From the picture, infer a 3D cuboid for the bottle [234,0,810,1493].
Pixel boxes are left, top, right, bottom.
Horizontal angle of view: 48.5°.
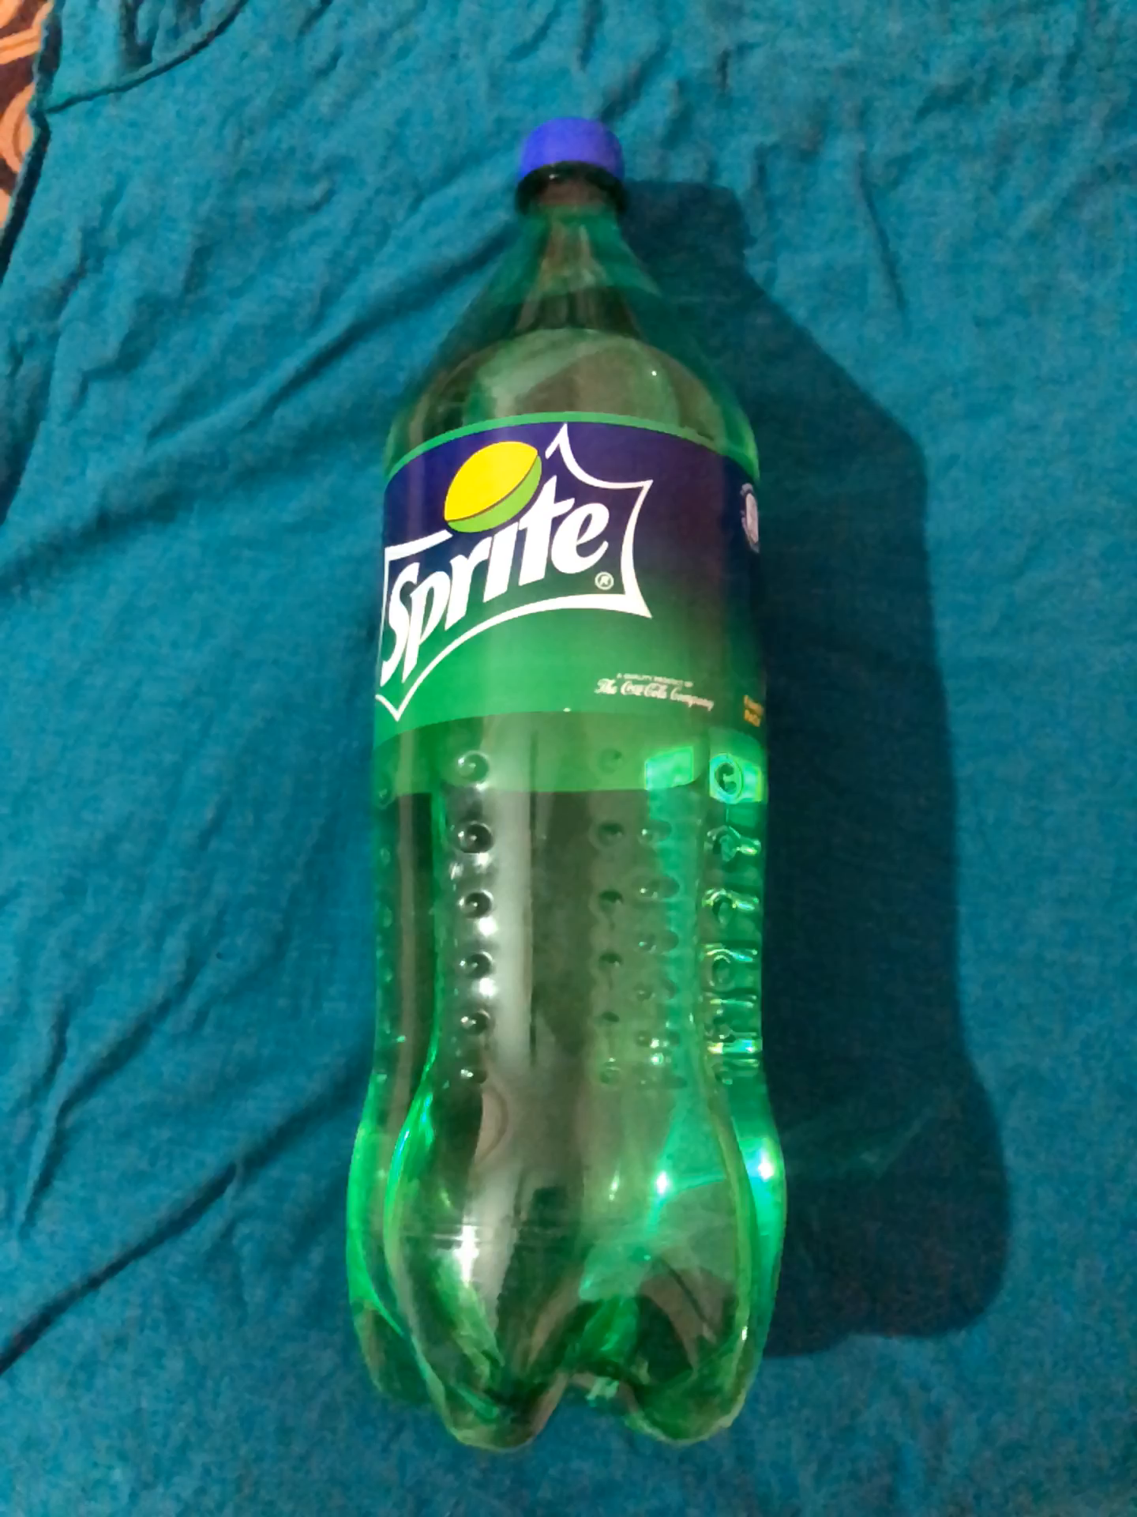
[{"bbox_3d":[-0.006,-0.020,0.308,0.110,0.070,0.330,-3,79,15],"label":"bottle"}]
